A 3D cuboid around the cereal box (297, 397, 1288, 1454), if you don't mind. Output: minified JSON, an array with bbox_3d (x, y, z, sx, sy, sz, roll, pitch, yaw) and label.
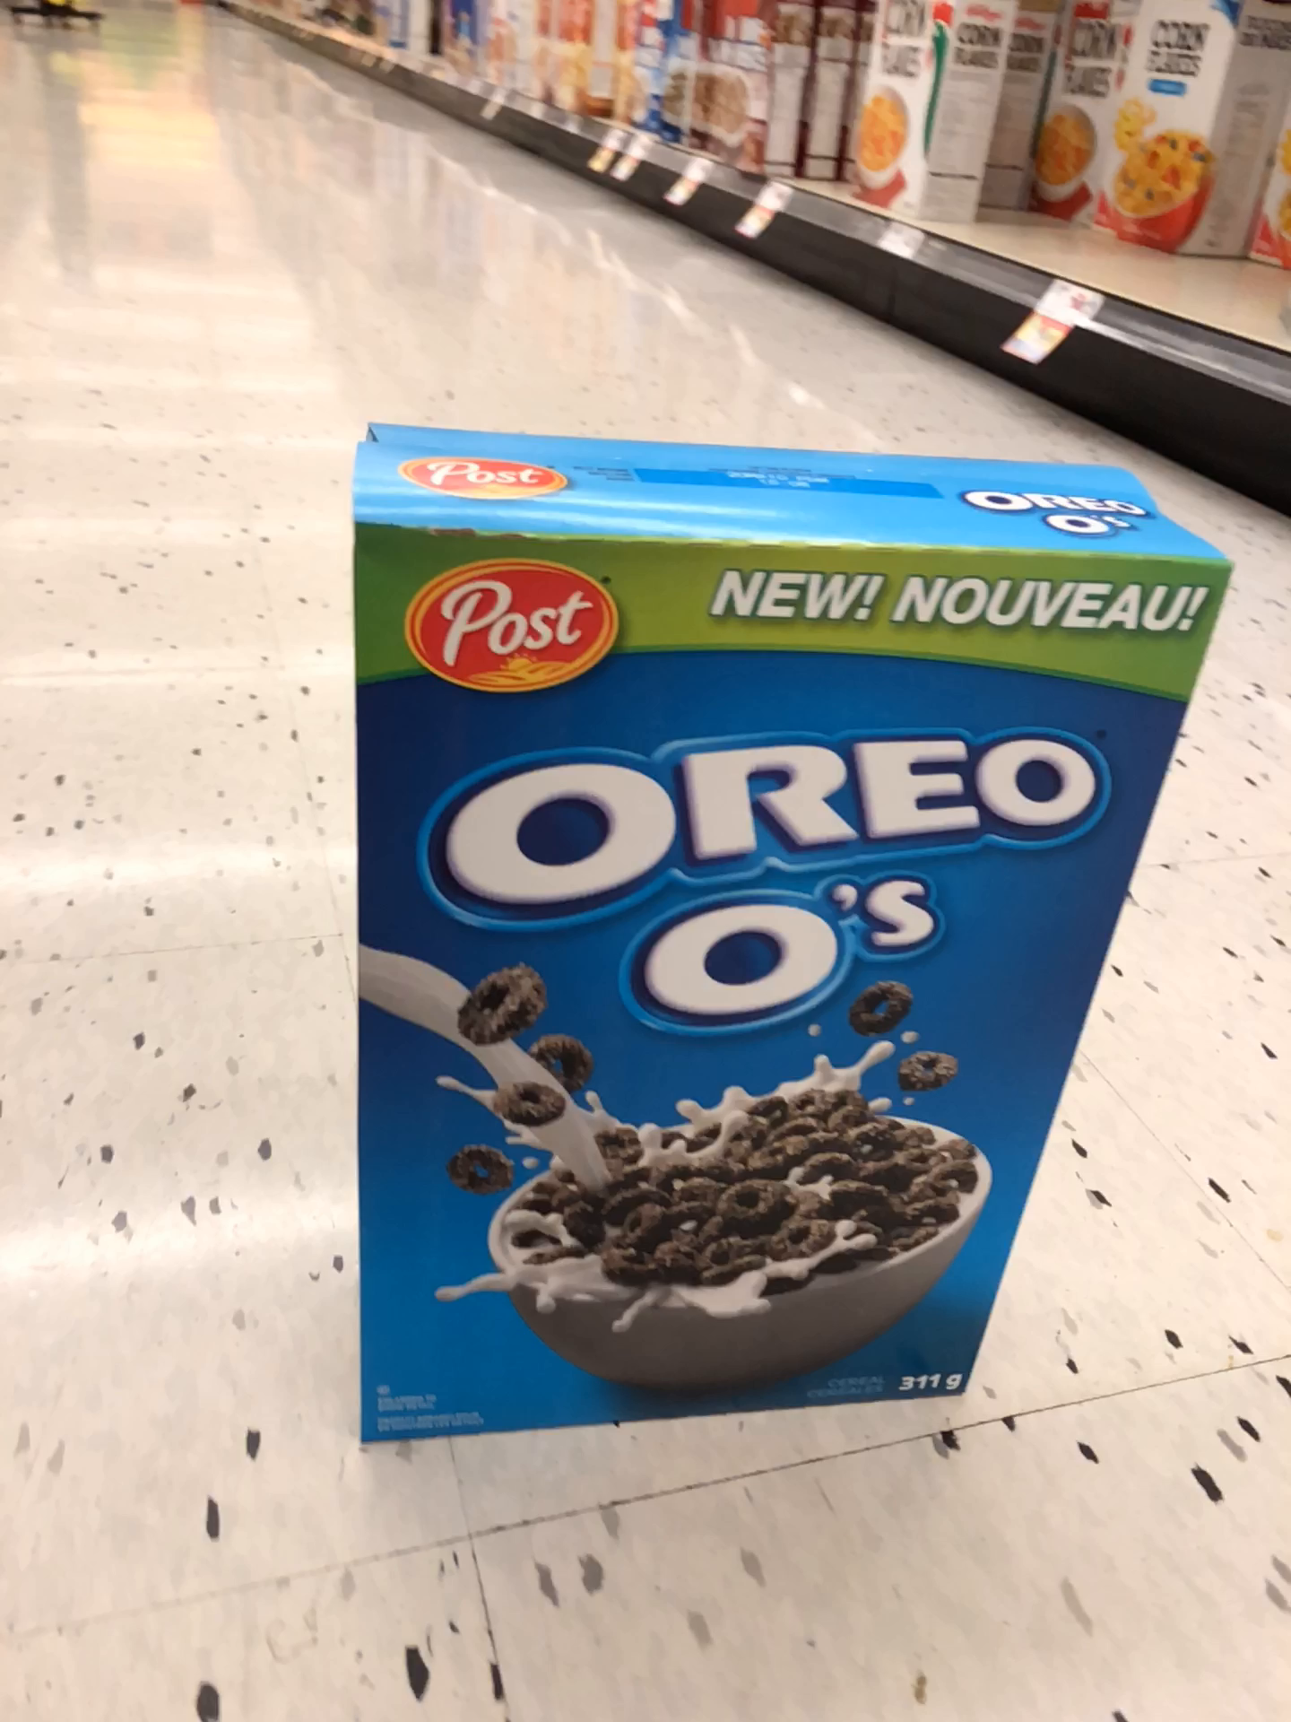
[{"bbox_3d":[0.017,0.031,0.368,0.200,0.268,0.060,0,30,-11],"label":"cereal box"}]
